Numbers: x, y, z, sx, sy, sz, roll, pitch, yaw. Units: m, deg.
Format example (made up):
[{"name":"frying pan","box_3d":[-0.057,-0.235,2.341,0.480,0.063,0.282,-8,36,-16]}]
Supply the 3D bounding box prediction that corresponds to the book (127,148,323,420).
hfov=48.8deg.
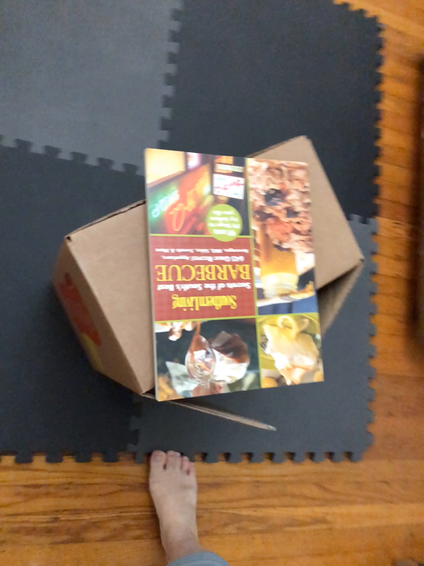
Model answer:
[{"name":"book","box_3d":[0.018,-0.004,0.545,0.221,0.020,0.290,-1,84,-22]}]
